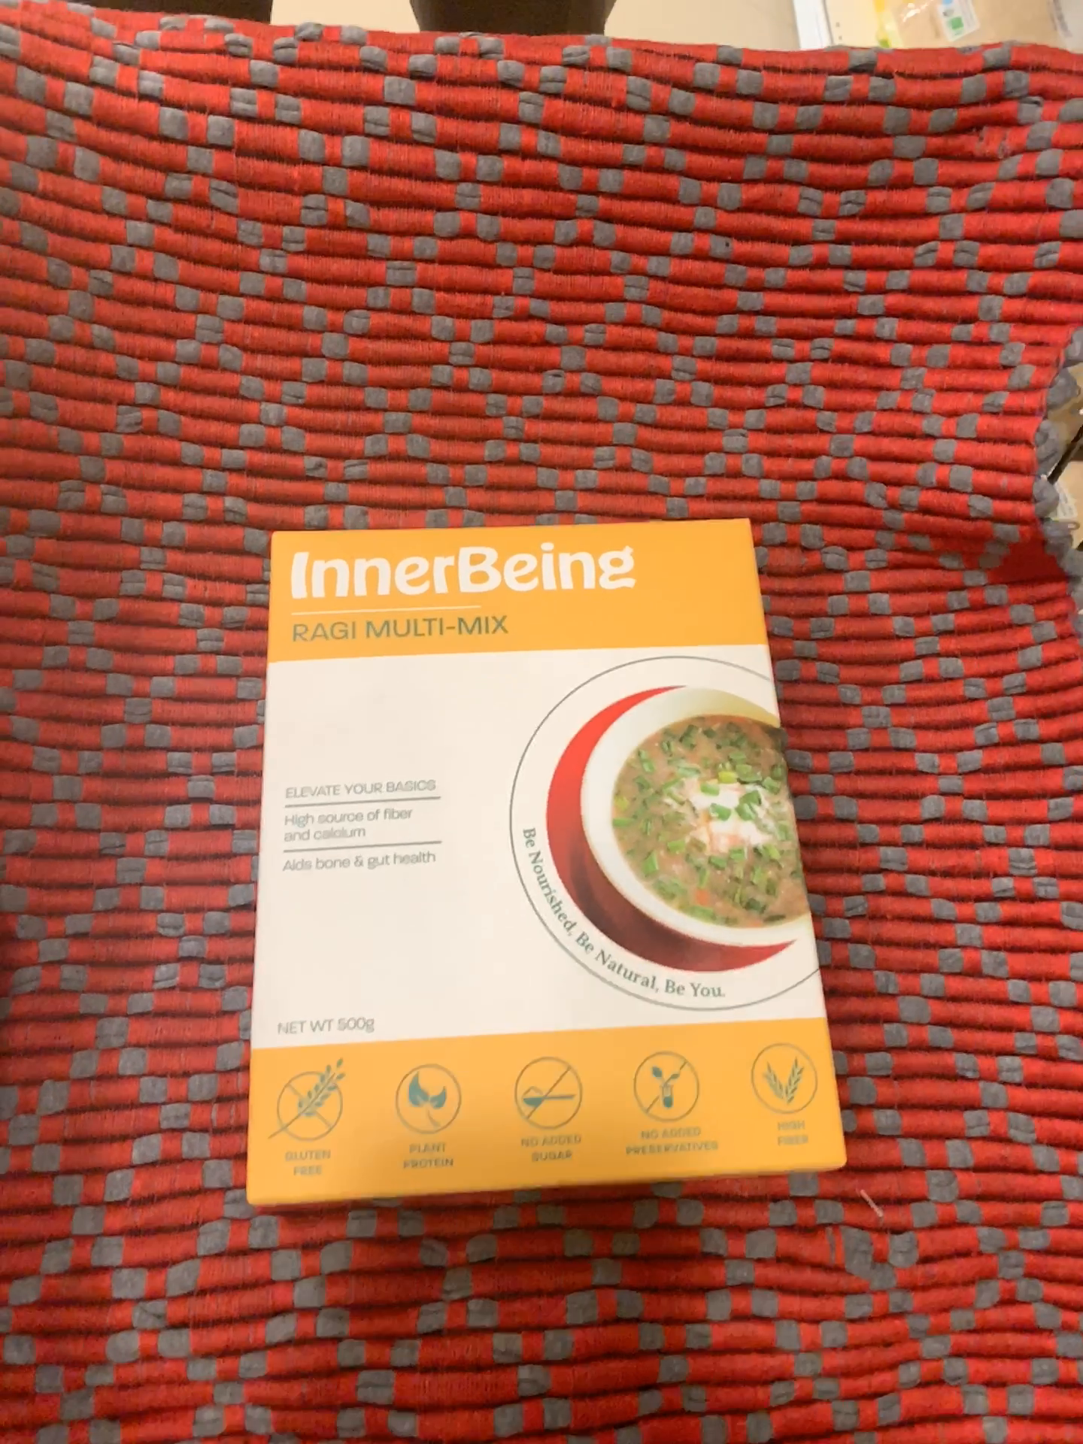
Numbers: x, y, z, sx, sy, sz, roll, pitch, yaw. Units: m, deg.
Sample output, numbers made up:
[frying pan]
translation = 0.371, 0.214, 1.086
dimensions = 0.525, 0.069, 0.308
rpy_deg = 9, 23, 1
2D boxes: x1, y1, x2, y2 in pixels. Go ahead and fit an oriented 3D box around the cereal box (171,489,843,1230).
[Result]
[cereal box]
translation = -0.013, 0.035, 0.318
dimensions = 0.150, 0.070, 0.190
rpy_deg = -2, 67, -3
